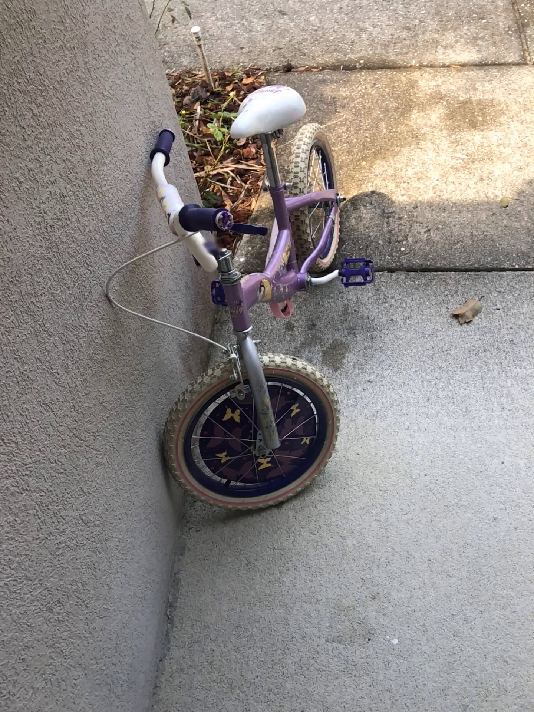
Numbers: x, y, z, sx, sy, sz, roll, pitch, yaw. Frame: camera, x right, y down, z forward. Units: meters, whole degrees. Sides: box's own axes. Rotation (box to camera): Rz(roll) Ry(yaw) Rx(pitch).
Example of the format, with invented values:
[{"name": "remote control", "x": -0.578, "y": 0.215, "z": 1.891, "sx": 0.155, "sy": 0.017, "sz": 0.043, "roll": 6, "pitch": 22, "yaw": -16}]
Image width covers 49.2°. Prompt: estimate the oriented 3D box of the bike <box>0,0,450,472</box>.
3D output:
[{"name": "bike", "x": 0.004, "y": -0.345, "z": 1.297, "sx": 0.615, "sy": 0.817, "sz": 0.849, "roll": 8, "pitch": 60, "yaw": 13}]
